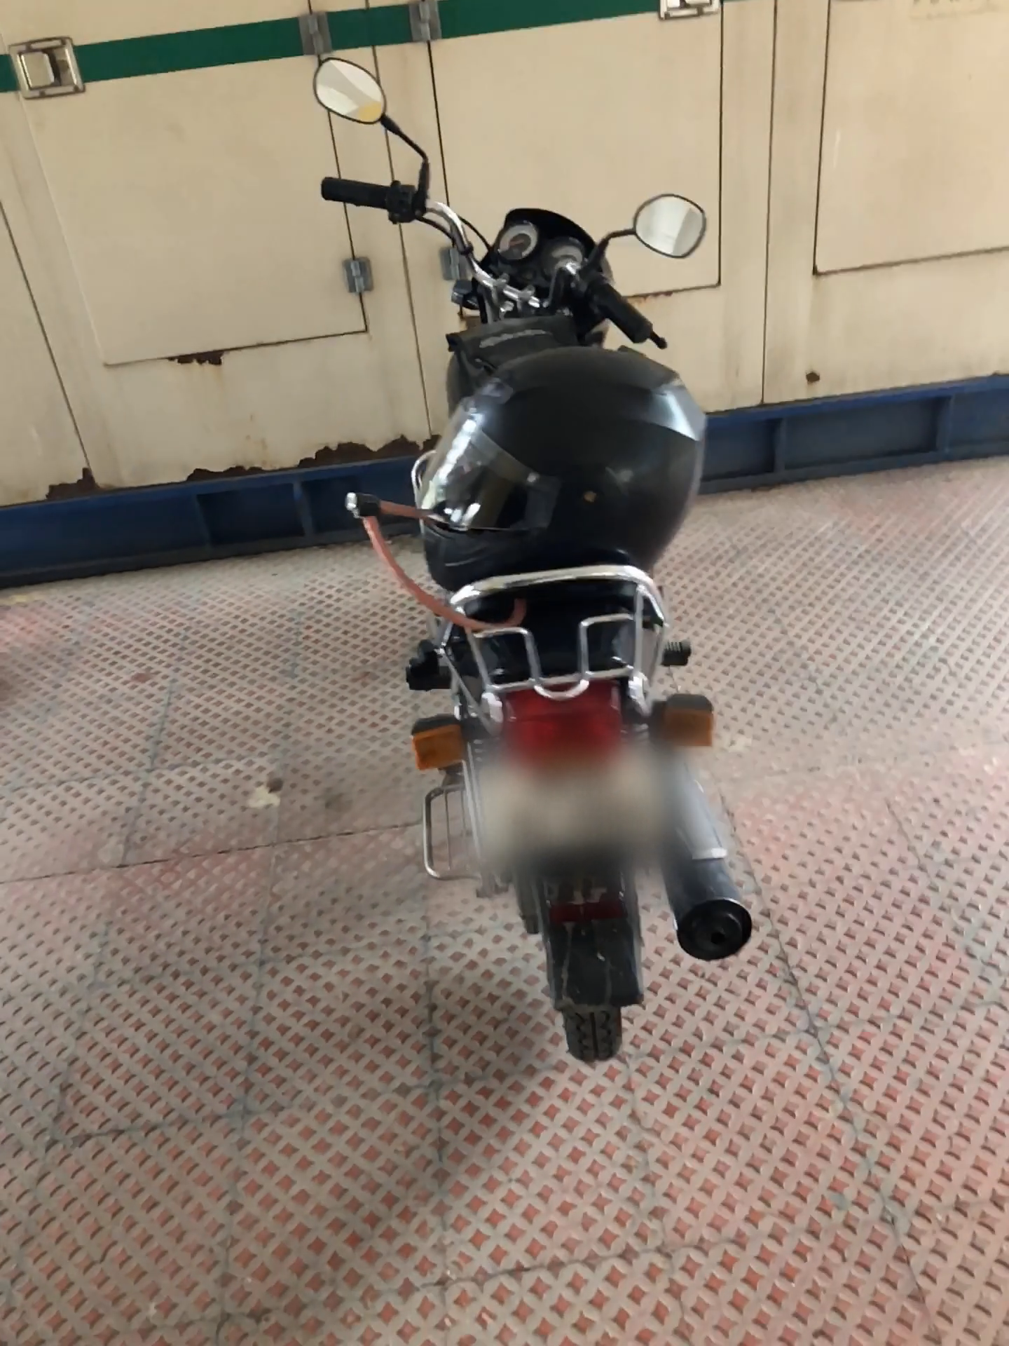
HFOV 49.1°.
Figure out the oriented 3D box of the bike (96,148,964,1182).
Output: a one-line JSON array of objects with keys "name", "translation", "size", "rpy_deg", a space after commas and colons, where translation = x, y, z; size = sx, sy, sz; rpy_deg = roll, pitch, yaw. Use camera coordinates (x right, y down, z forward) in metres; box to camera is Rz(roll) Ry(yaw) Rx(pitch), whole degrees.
[{"name": "bike", "translation": [0.127, -0.231, 2.038], "size": [0.735, 1.087, 1.870], "rpy_deg": [-3, 32, 6]}]
